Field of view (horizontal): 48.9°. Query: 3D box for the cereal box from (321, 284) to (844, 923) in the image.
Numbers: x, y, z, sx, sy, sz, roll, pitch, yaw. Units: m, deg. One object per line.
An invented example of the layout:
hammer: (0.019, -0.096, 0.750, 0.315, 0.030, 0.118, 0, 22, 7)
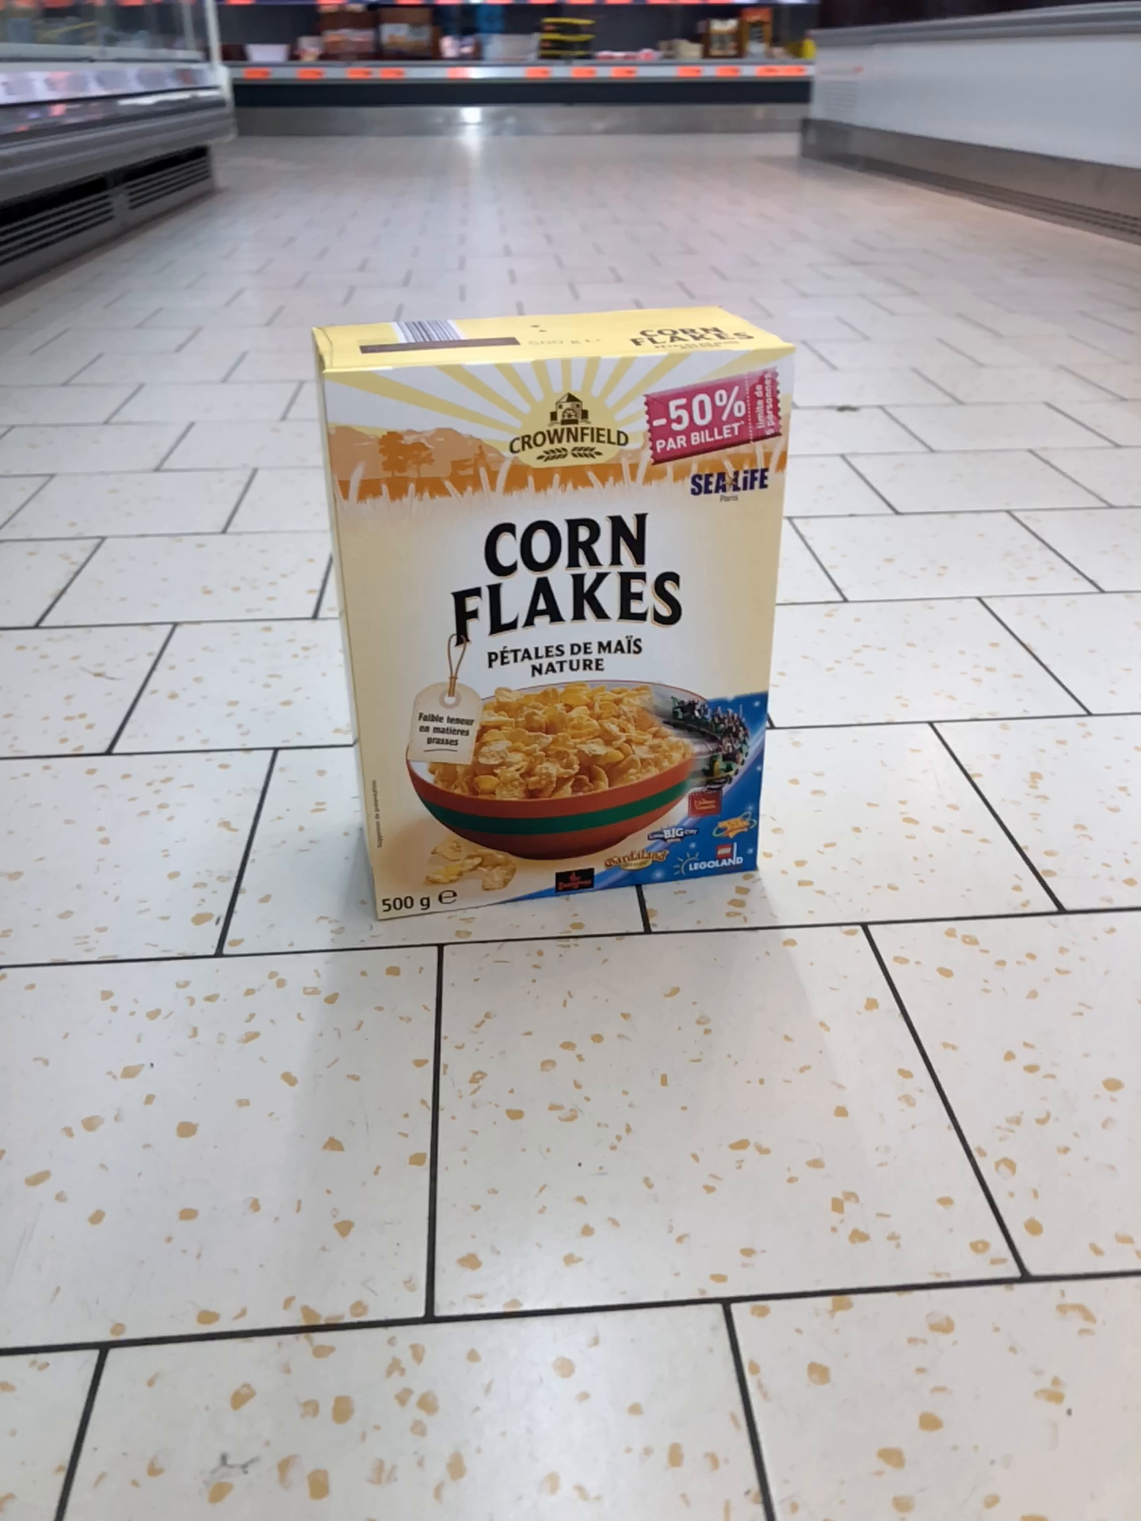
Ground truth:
cereal box: (0.001, -0.073, 0.581, 0.200, 0.259, 0.100, -6, 28, -11)
